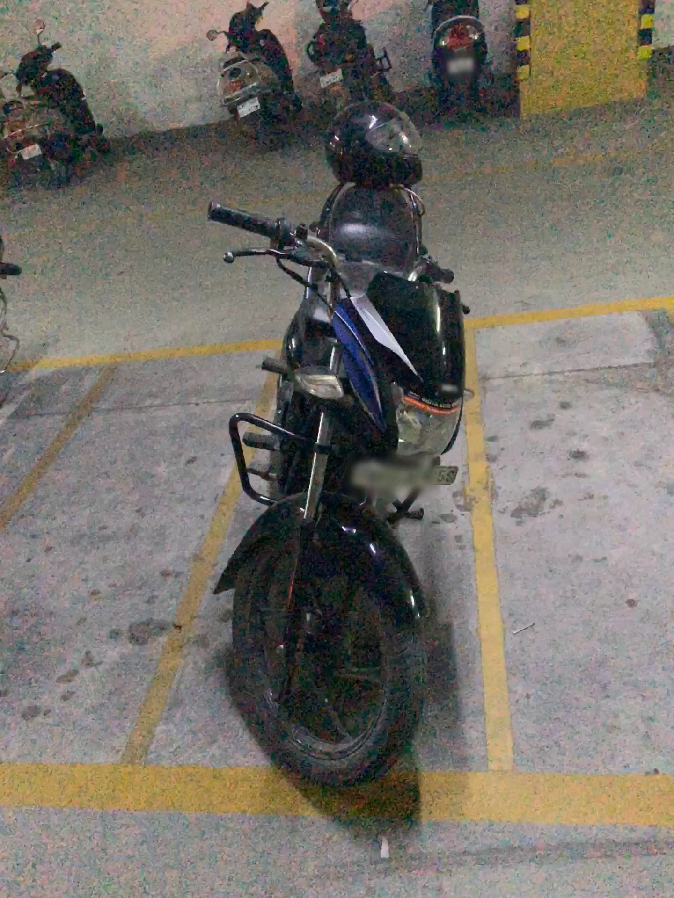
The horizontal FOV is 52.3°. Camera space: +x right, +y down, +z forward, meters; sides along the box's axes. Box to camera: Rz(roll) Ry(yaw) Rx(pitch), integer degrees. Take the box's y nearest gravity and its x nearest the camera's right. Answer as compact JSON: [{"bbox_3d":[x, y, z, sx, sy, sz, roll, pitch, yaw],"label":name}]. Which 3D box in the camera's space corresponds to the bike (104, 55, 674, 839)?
[{"bbox_3d":[0.151,-0.156,1.848,0.767,1.156,1.725,-8,39,6],"label":"bike"}]
